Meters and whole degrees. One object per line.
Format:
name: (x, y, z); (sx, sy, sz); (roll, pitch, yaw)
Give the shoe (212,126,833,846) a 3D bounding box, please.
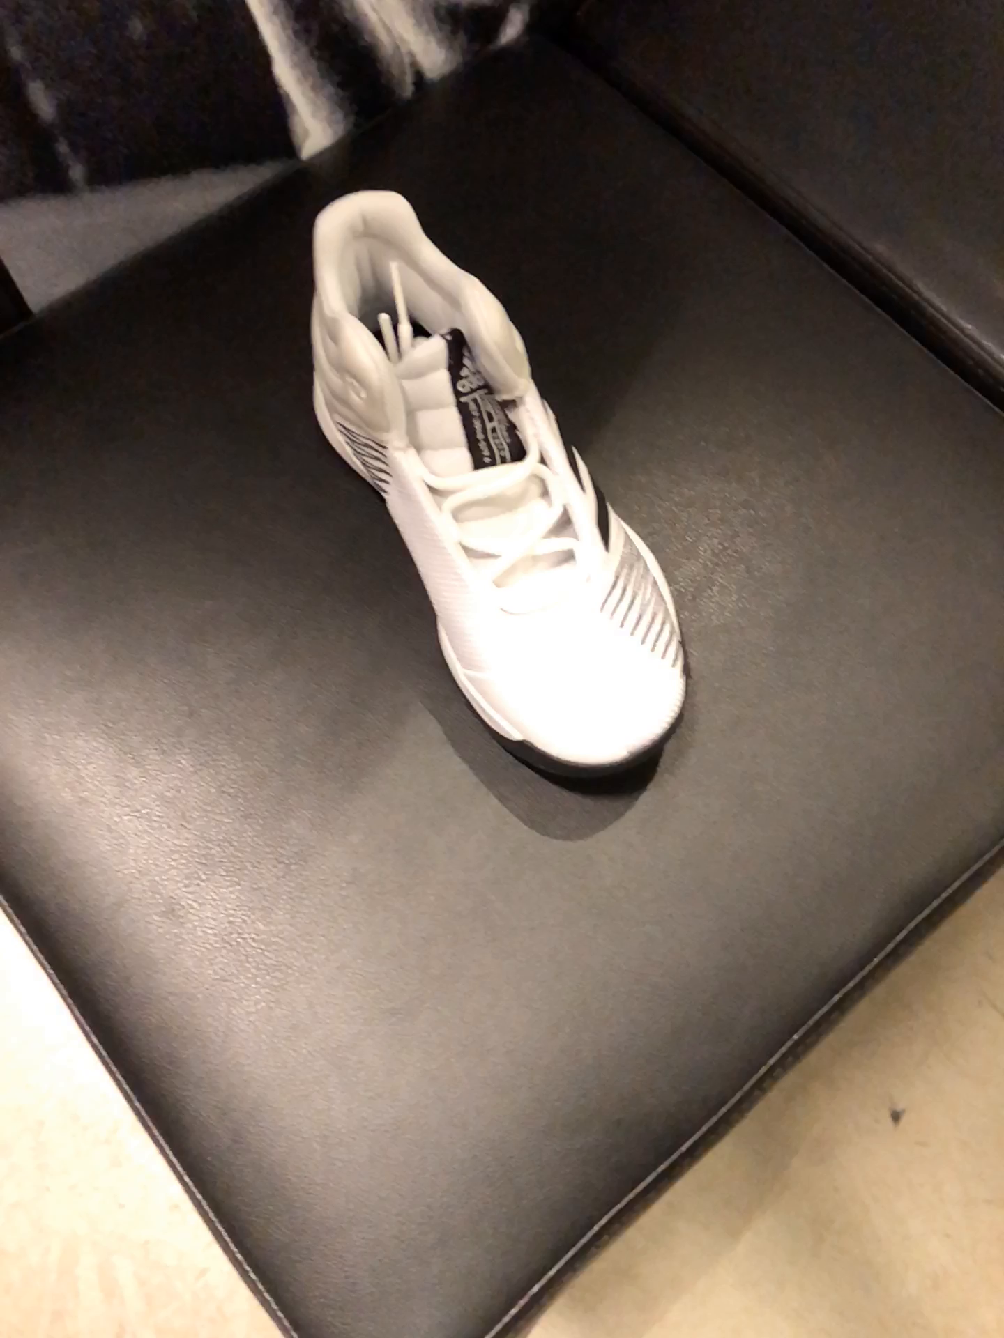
shoe: (-0.001, -0.066, 0.411); (0.100, 0.110, 0.220); (-29, 71, -12)
